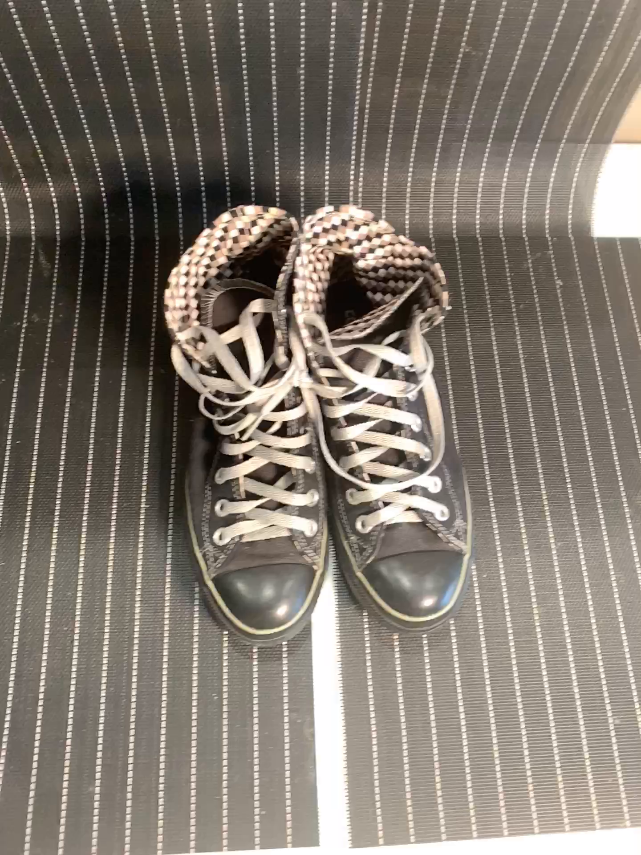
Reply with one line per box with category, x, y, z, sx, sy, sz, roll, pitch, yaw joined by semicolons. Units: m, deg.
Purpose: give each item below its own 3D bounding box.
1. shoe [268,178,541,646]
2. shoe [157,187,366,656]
shoe;0.040;-0.007;0.465;0.110;0.130;0.290;-8;72;-6
shoe;-0.045;-0.001;0.456;0.110;0.130;0.290;-3;72;-4
